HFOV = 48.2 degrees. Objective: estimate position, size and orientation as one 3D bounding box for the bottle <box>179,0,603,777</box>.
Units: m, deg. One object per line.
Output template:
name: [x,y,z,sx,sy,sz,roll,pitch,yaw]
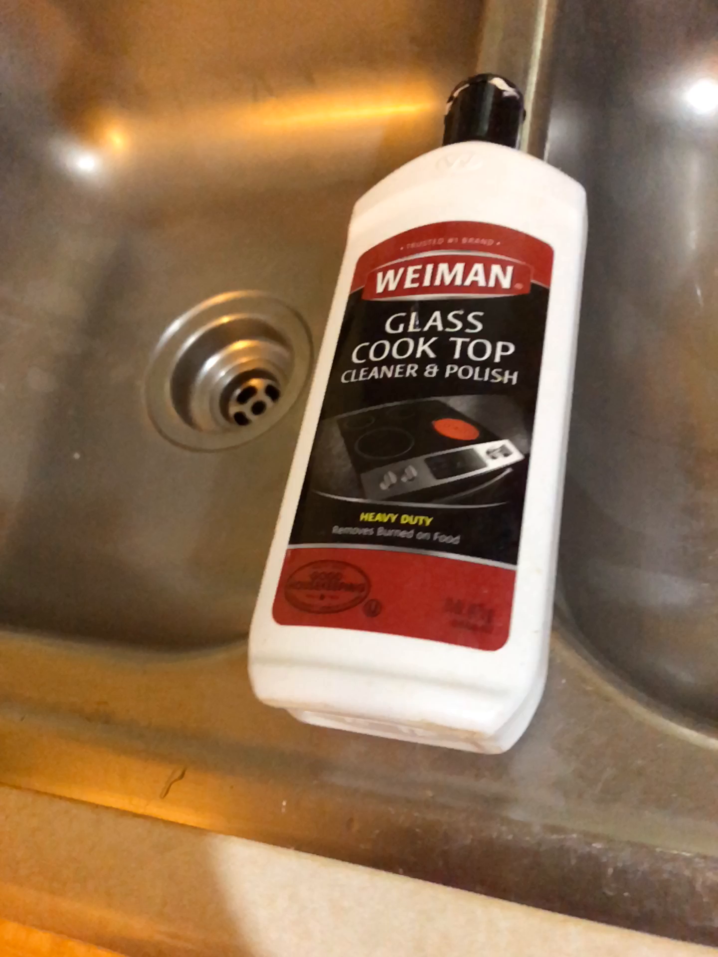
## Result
bottle: [0.024,-0.044,0.245,0.080,0.050,0.240,2,65,21]
